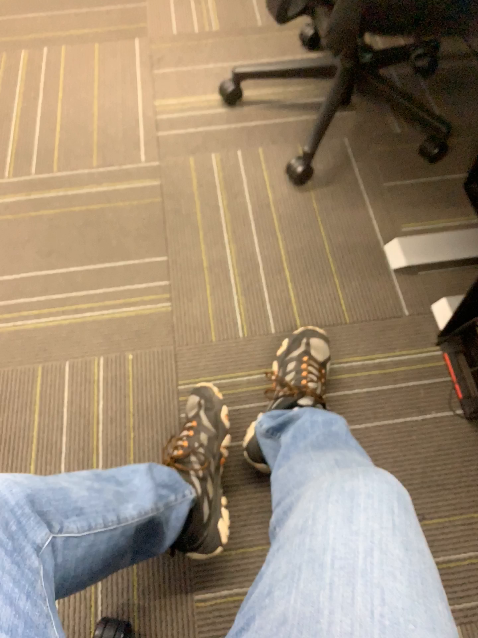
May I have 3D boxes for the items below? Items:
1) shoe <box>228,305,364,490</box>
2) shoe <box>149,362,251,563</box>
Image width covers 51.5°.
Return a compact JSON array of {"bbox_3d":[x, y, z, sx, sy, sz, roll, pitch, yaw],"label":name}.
[{"bbox_3d":[0.119,0.141,0.968,0.119,0.119,0.325,2,60,44],"label":"shoe"},{"bbox_3d":[-0.079,0.259,0.906,0.127,0.119,0.325,14,61,-36],"label":"shoe"}]
